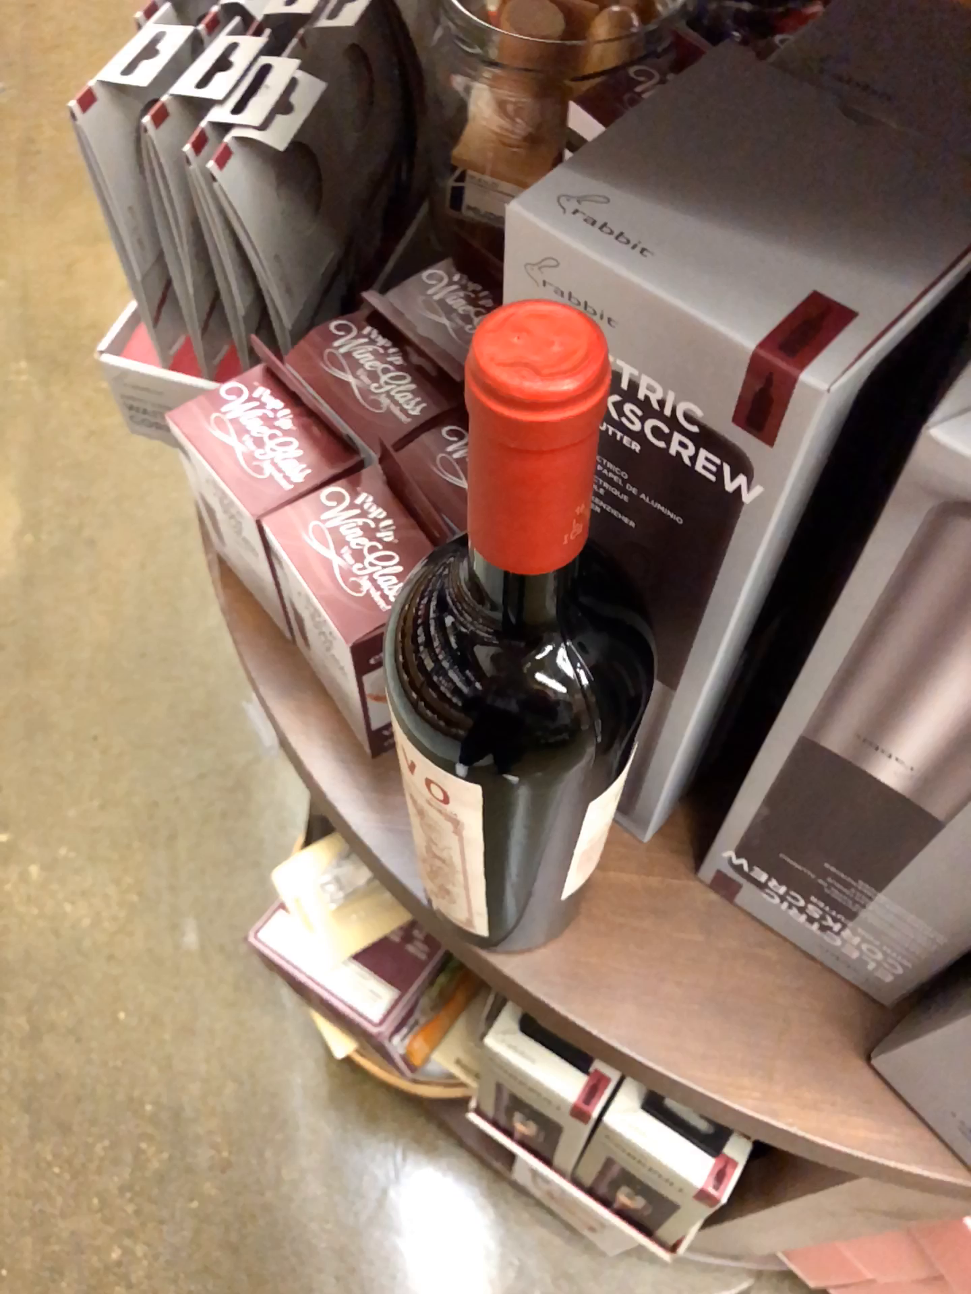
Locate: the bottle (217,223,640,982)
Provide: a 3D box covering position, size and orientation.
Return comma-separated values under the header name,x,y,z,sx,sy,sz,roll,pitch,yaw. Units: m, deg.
name,x,y,z,sx,sy,sz,roll,pitch,yaw
bottle,-0.006,0.023,0.332,0.071,0.299,0.072,0,58,1
